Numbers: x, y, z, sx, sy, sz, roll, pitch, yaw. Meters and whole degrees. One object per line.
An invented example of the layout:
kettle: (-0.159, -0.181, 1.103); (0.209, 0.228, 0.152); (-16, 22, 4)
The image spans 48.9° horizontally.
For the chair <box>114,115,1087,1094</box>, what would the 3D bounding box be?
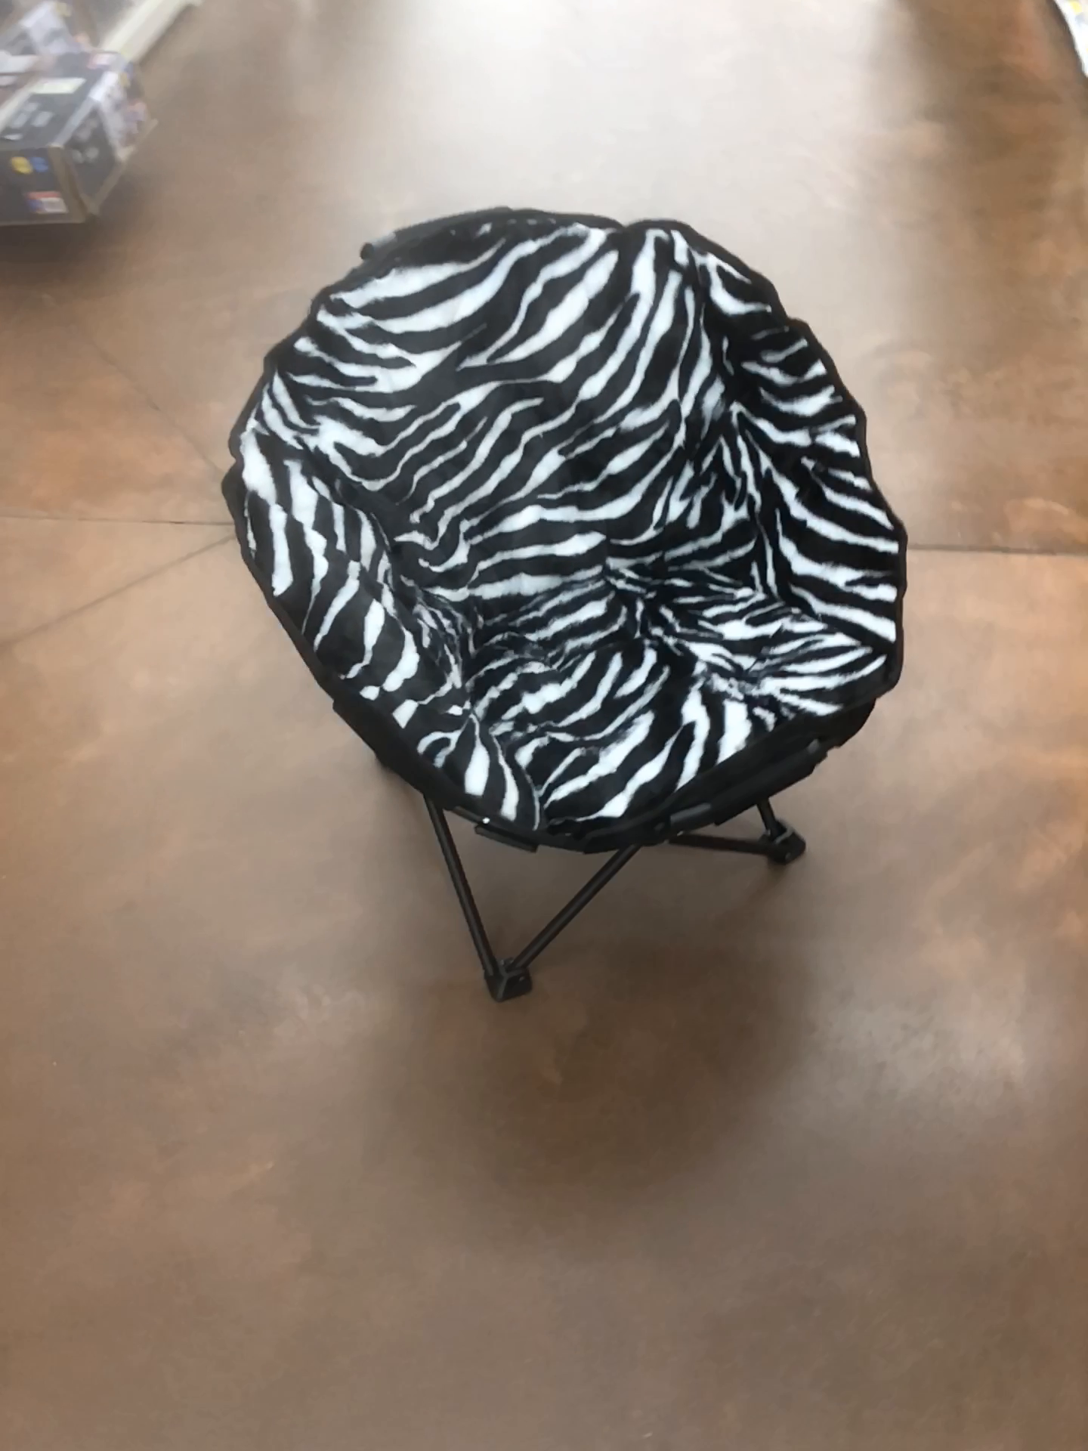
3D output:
chair: (0.027, -0.146, 1.228); (0.610, 0.598, 0.601); (-23, 50, -17)
